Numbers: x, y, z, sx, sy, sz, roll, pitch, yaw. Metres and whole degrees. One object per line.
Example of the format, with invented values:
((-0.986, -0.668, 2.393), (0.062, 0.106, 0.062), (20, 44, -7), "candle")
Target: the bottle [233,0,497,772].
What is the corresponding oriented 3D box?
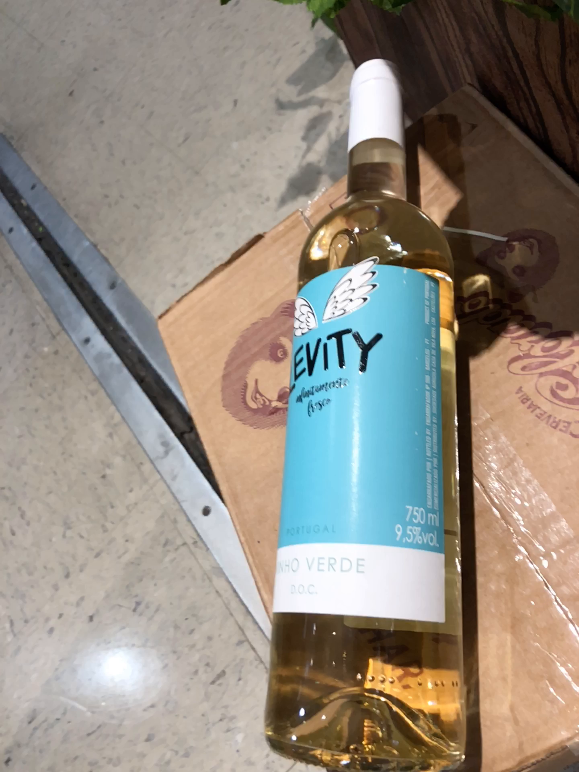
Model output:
((0.037, -0.024, 0.286), (0.080, 0.050, 0.341), (-7, 68, 28), "bottle")
